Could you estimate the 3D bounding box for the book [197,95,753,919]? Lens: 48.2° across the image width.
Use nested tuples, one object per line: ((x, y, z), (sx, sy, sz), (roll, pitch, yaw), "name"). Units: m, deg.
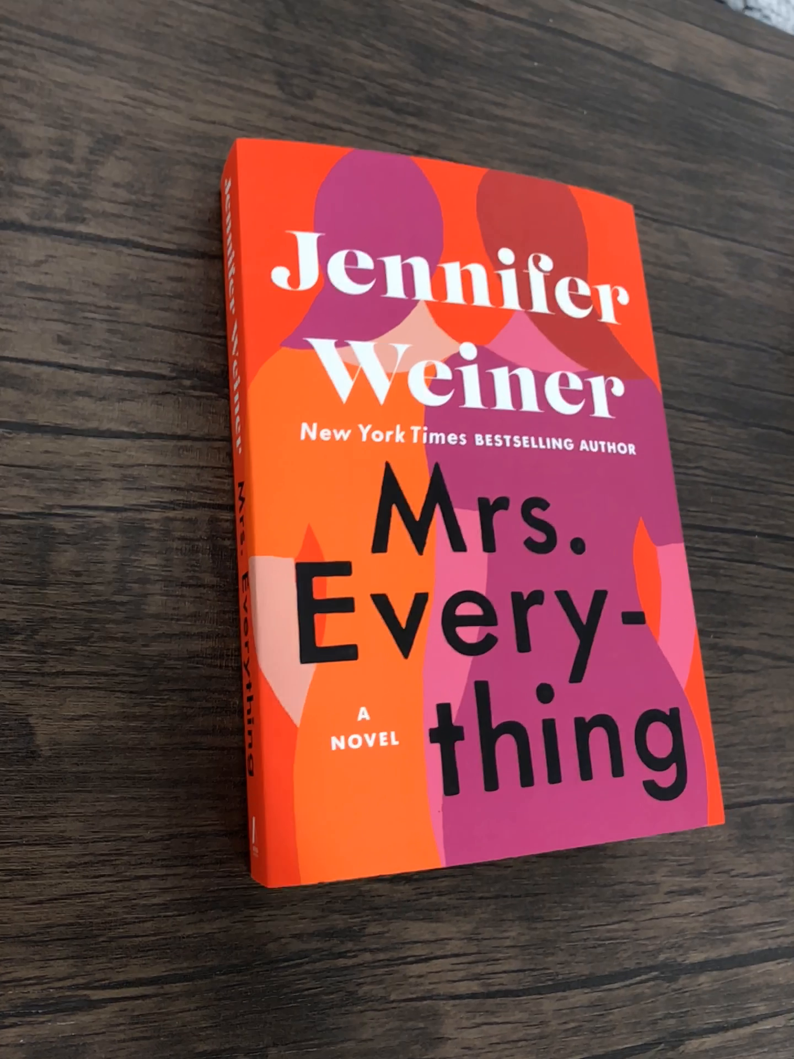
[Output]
((0.022, -0.011, 0.295), (0.161, 0.046, 0.232), (1, 77, -23), "book")
